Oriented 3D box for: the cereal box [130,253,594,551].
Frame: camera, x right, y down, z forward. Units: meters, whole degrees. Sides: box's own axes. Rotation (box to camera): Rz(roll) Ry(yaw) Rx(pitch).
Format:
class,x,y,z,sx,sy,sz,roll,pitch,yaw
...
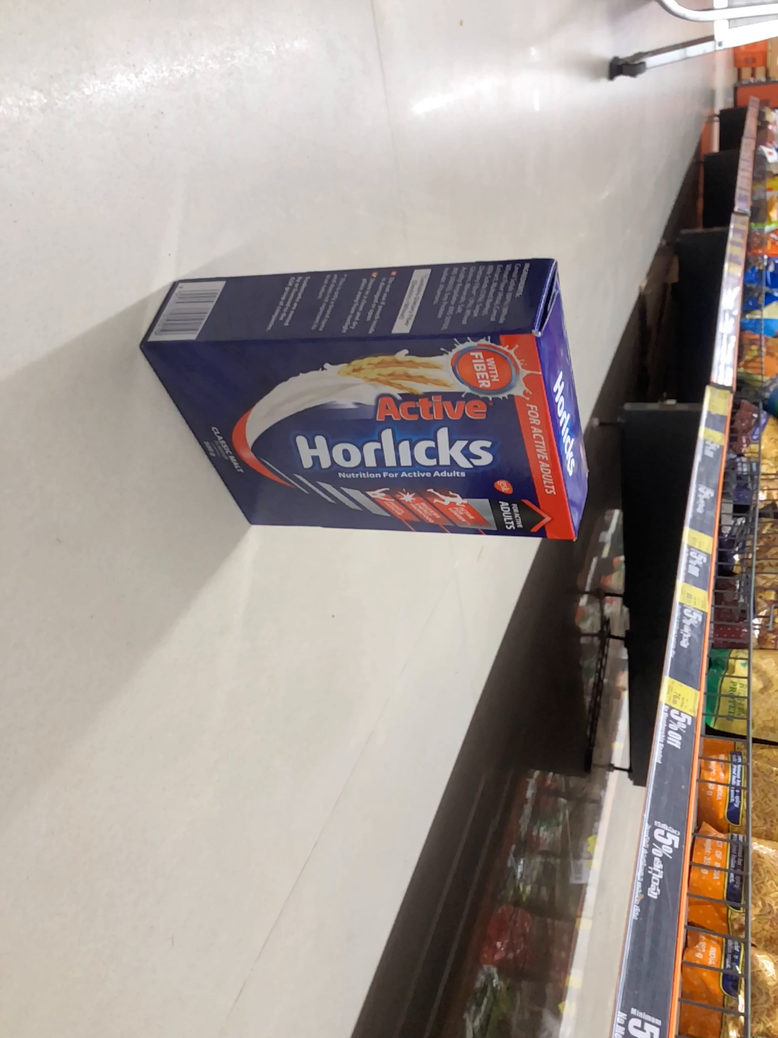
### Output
class,x,y,z,sx,sy,sz,roll,pitch,yaw
cereal box,-0.004,-0.051,0.425,0.141,0.189,0.050,66,33,-49
